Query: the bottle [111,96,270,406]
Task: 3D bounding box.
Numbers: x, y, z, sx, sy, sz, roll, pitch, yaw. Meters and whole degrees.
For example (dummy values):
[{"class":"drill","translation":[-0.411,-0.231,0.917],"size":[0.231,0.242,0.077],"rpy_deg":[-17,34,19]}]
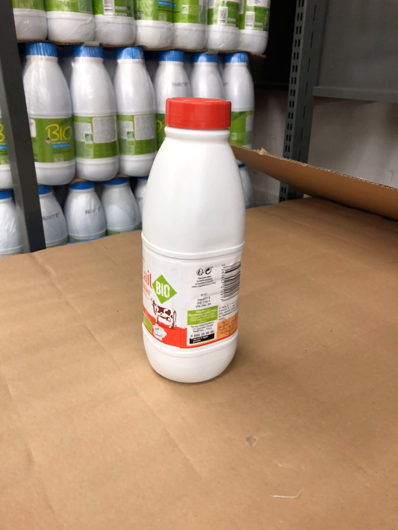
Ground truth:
[{"class":"bottle","translation":[-0.010,-0.015,0.366],"size":[0.080,0.229,0.090],"rpy_deg":[-15,28,-31]}]
